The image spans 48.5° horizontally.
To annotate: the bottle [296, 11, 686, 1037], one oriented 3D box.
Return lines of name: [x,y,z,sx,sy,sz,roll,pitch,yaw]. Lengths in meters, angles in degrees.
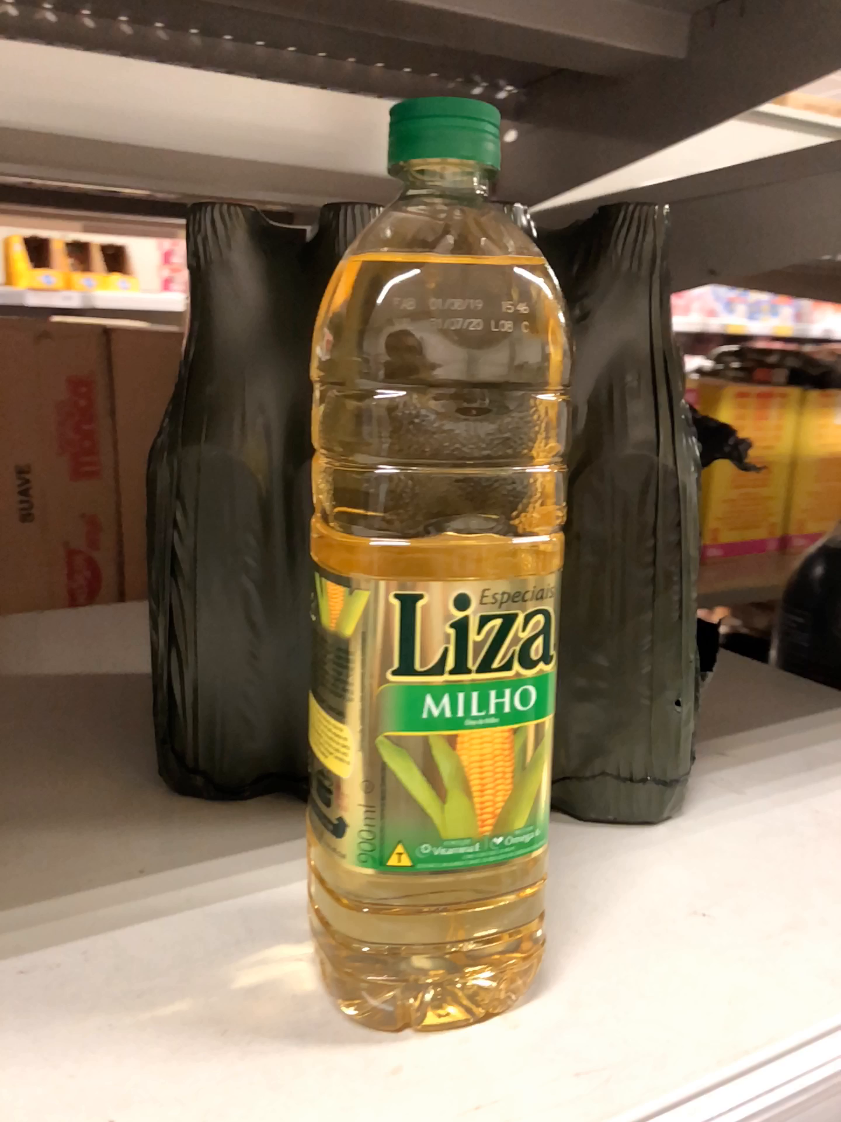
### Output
bottle: [0.012,-0.005,0.268,0.080,0.249,0.070,-3,13,-17]
